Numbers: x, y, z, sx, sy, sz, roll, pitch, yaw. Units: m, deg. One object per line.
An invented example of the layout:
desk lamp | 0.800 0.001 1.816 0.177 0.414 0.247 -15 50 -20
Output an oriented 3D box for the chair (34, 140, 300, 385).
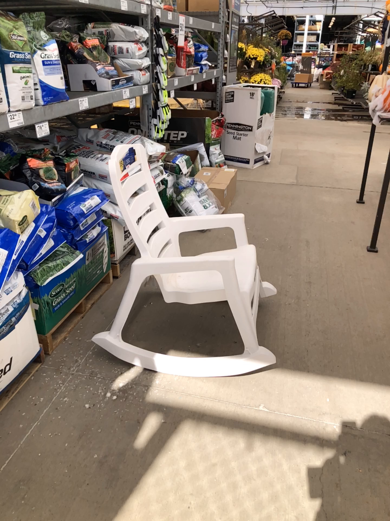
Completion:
chair | -0.067 -0.067 2.194 1.031 0.928 0.848 4 24 8
